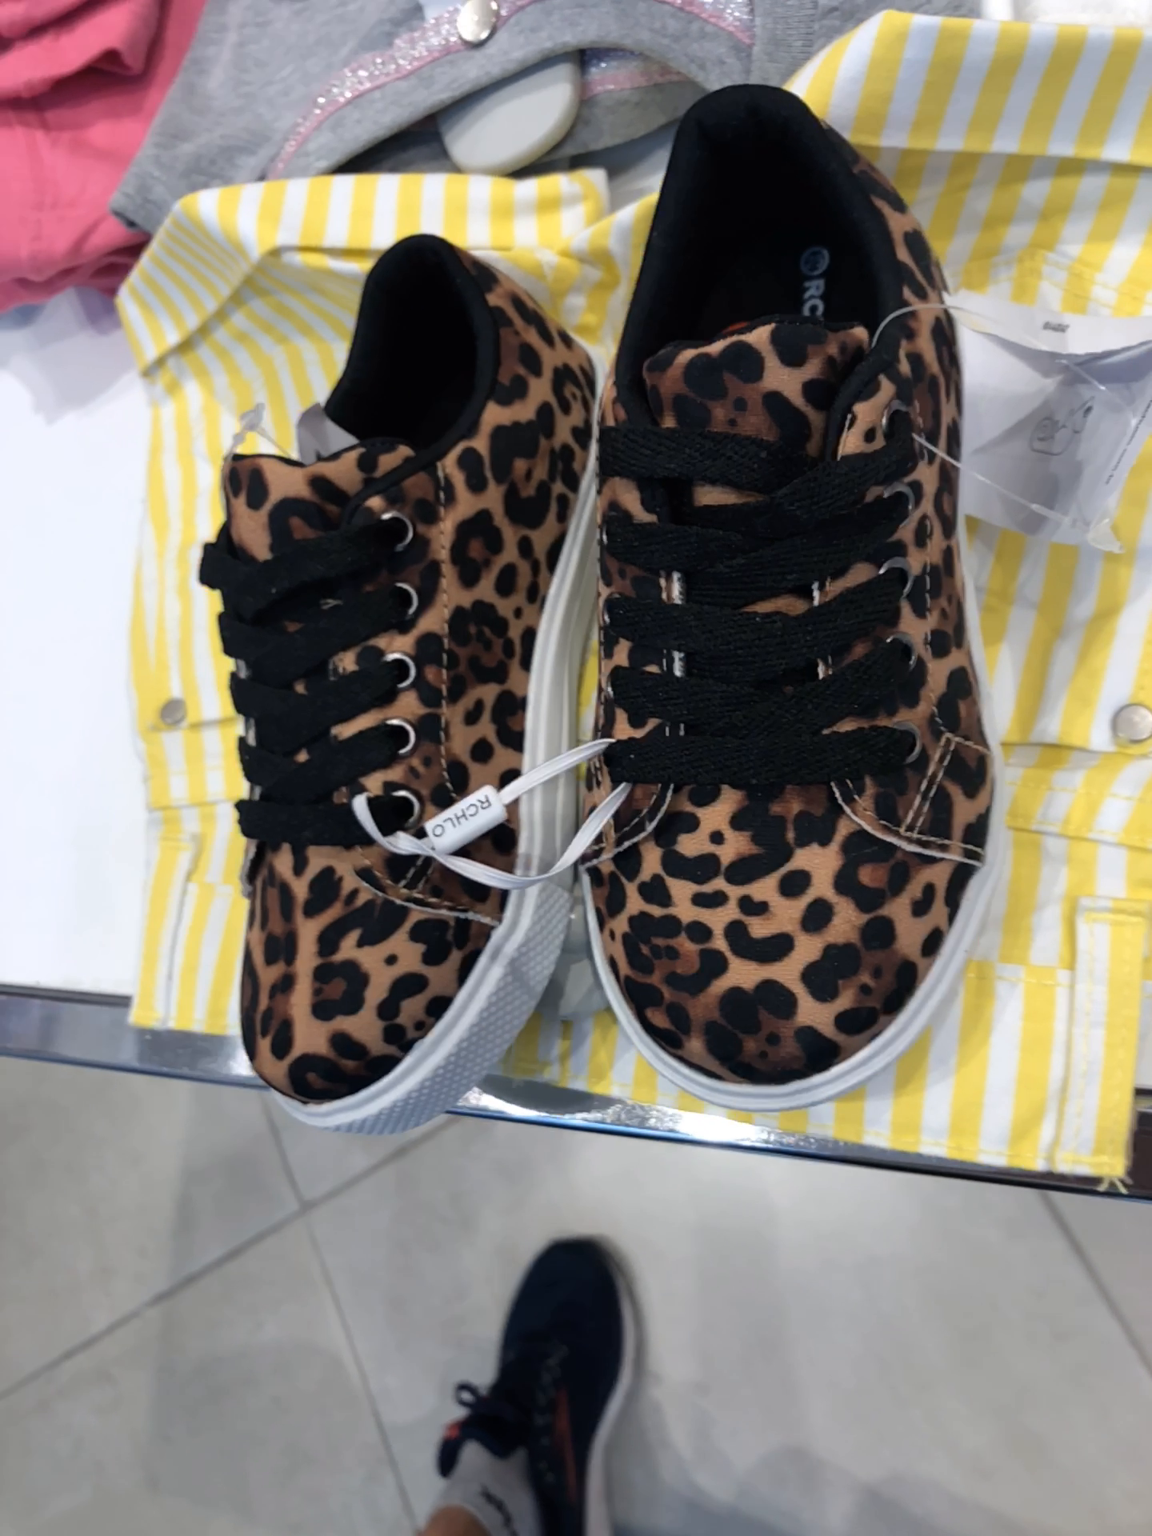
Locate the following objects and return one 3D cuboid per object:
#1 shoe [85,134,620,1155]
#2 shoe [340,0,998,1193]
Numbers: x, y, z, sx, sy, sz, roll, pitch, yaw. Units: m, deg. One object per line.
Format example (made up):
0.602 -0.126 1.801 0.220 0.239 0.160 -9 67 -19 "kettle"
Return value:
-0.046 -0.019 0.261 0.080 0.060 0.170 -4 80 52 "shoe"
0.024 -0.025 0.231 0.080 0.080 0.170 3 84 25 "shoe"
